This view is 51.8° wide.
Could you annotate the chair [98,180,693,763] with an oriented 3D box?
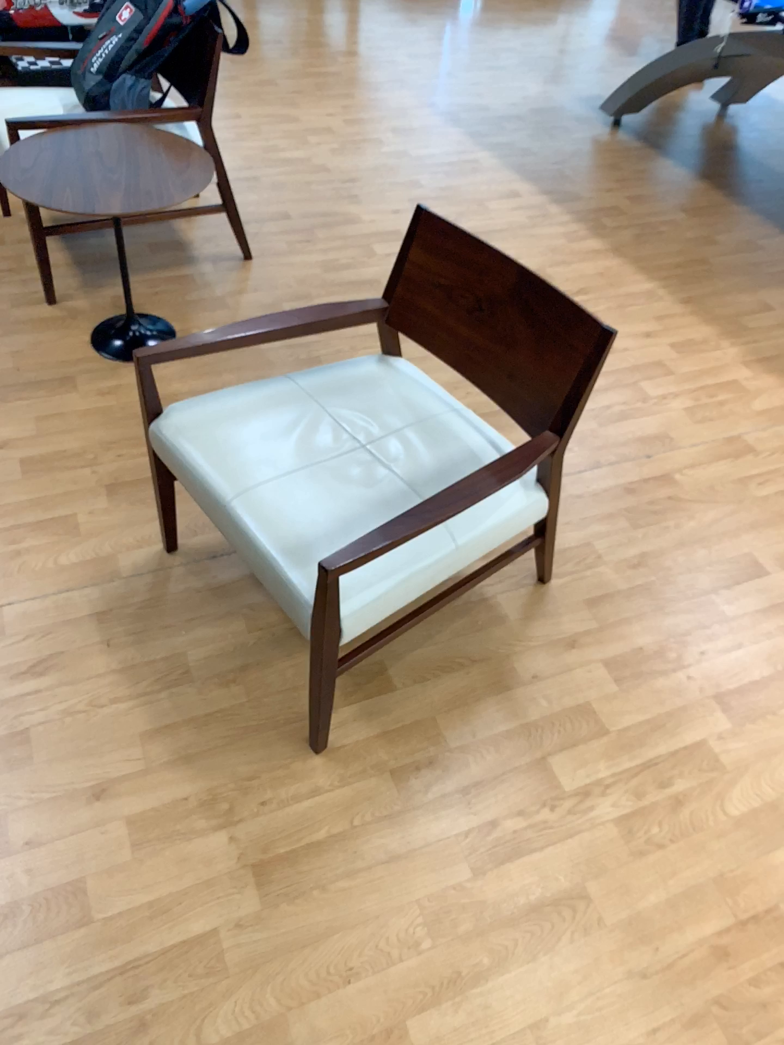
[{"bbox_3d":[-0.025,-0.141,1.536,0.712,0.635,0.673,-26,54,-28],"label":"chair"}]
